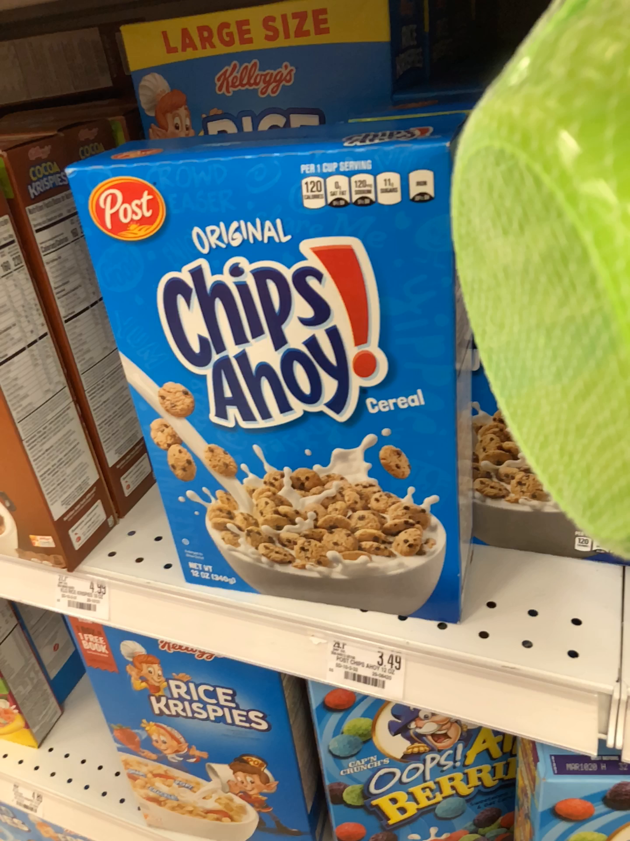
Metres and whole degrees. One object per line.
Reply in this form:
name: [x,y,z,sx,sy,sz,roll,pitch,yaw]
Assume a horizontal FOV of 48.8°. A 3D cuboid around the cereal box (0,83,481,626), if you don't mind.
cereal box: [-0.018,-0.024,0.377,0.200,0.259,0.080,3,34,19]
